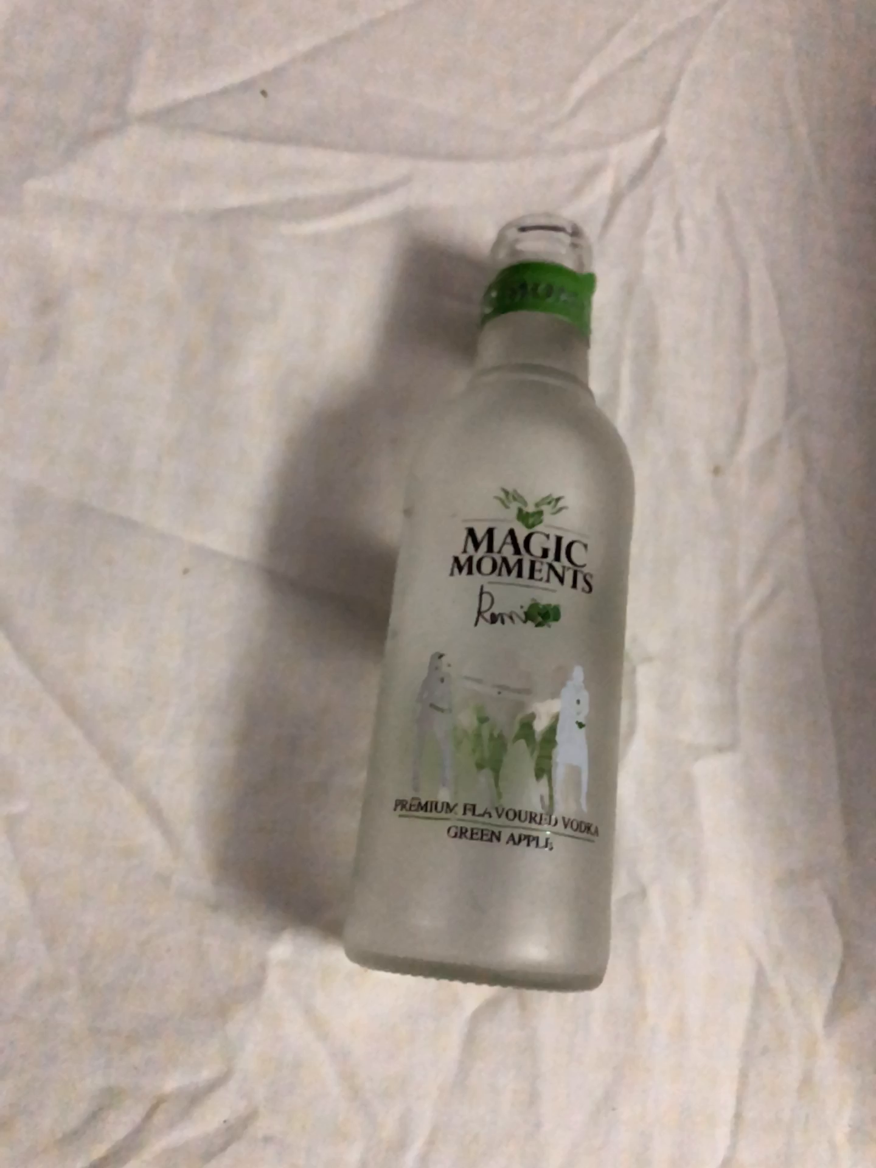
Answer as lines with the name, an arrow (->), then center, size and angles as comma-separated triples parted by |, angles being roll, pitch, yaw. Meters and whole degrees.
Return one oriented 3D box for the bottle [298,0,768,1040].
bottle -> 0.019, -0.014, 0.200 | 0.060, 0.060, 0.180 | 10, 76, -12
